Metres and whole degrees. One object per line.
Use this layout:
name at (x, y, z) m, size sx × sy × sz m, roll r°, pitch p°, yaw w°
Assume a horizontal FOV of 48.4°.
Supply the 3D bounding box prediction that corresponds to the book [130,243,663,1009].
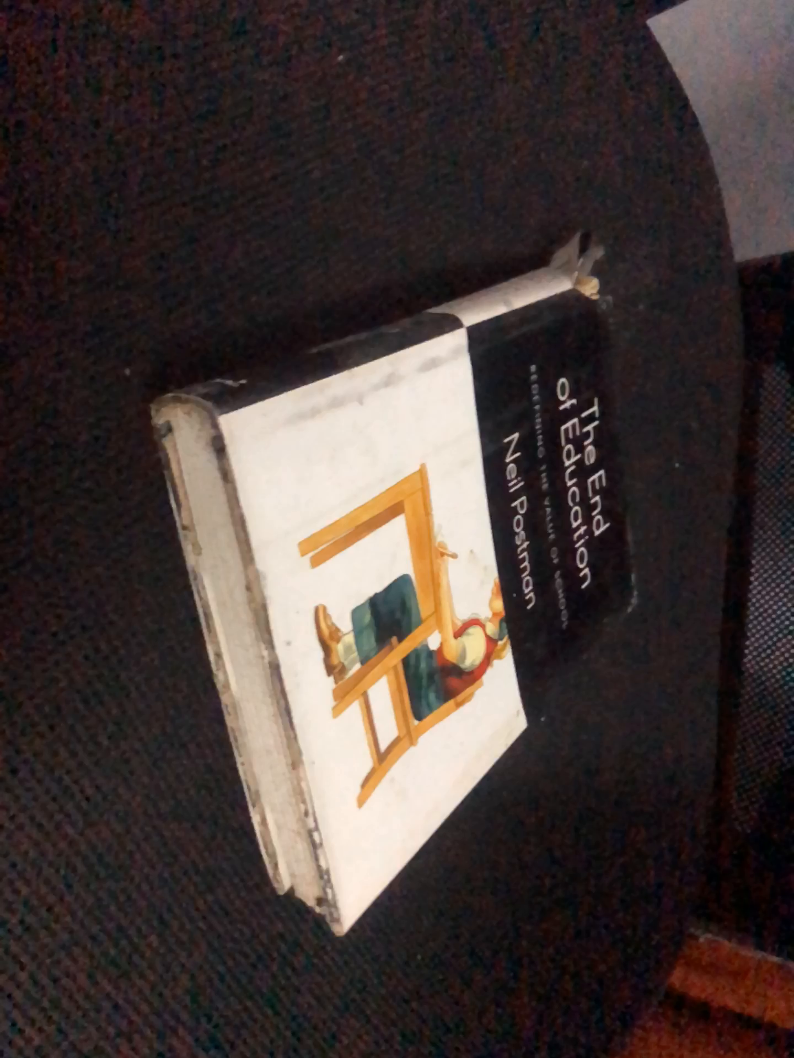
book at (0.035, 0.006, 0.322) m, size 0.252 × 0.030 × 0.180 m, roll -33°, pitch 120°, yaw -49°
